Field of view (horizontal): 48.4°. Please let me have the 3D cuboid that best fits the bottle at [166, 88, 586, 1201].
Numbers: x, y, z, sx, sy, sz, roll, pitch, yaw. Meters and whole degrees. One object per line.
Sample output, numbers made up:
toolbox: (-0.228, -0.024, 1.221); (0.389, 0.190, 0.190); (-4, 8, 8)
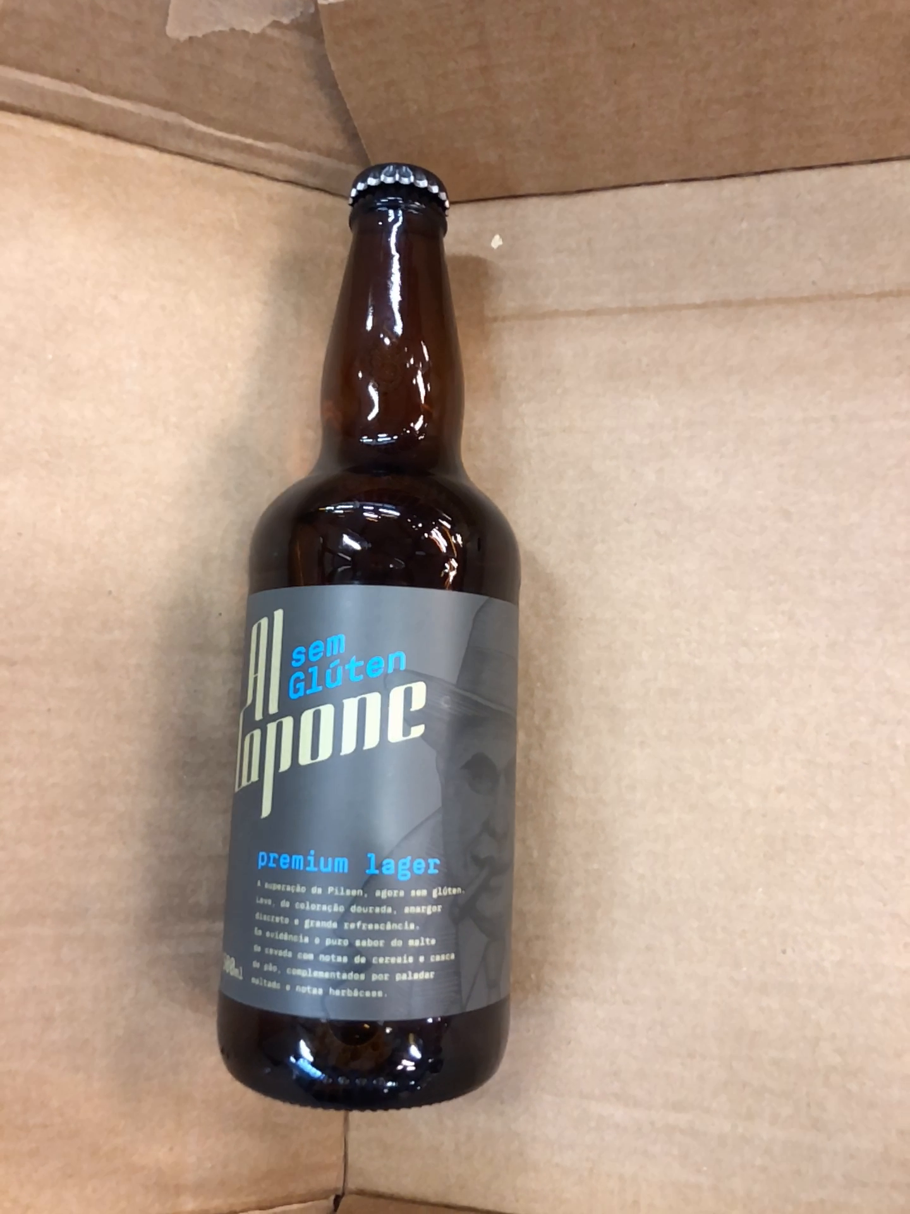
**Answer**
bottle: (-0.012, 0.001, 0.247); (0.080, 0.060, 0.240); (2, 79, 0)
